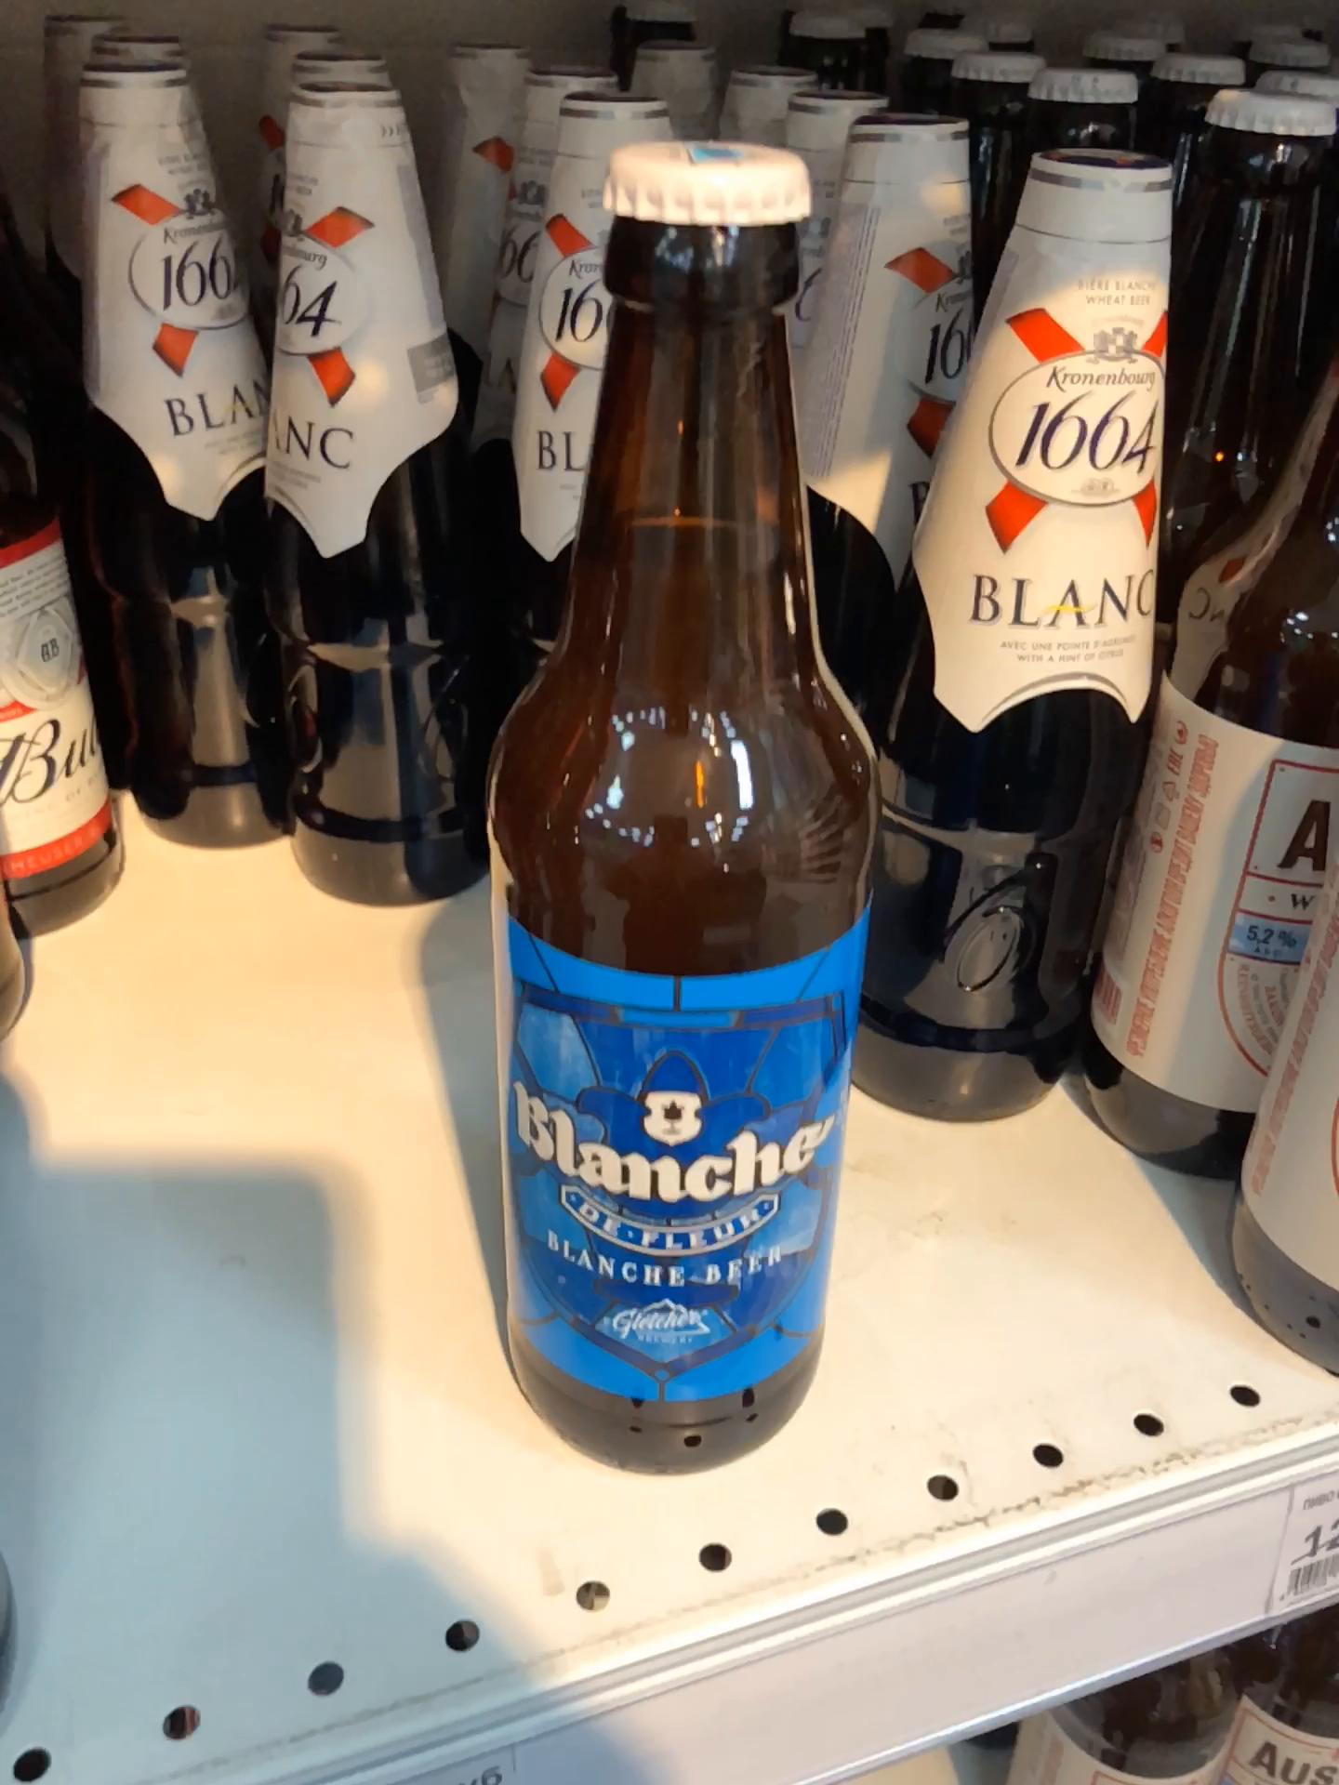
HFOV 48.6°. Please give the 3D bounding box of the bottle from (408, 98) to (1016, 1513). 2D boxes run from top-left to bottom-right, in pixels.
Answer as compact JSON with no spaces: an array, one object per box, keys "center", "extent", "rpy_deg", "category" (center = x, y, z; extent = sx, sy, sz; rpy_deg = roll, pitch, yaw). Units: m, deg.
[{"center":[-0.001,0.001,0.264],"extent":[0.070,0.245,0.070],"rpy_deg":[1,32,-1],"category":"bottle"}]
